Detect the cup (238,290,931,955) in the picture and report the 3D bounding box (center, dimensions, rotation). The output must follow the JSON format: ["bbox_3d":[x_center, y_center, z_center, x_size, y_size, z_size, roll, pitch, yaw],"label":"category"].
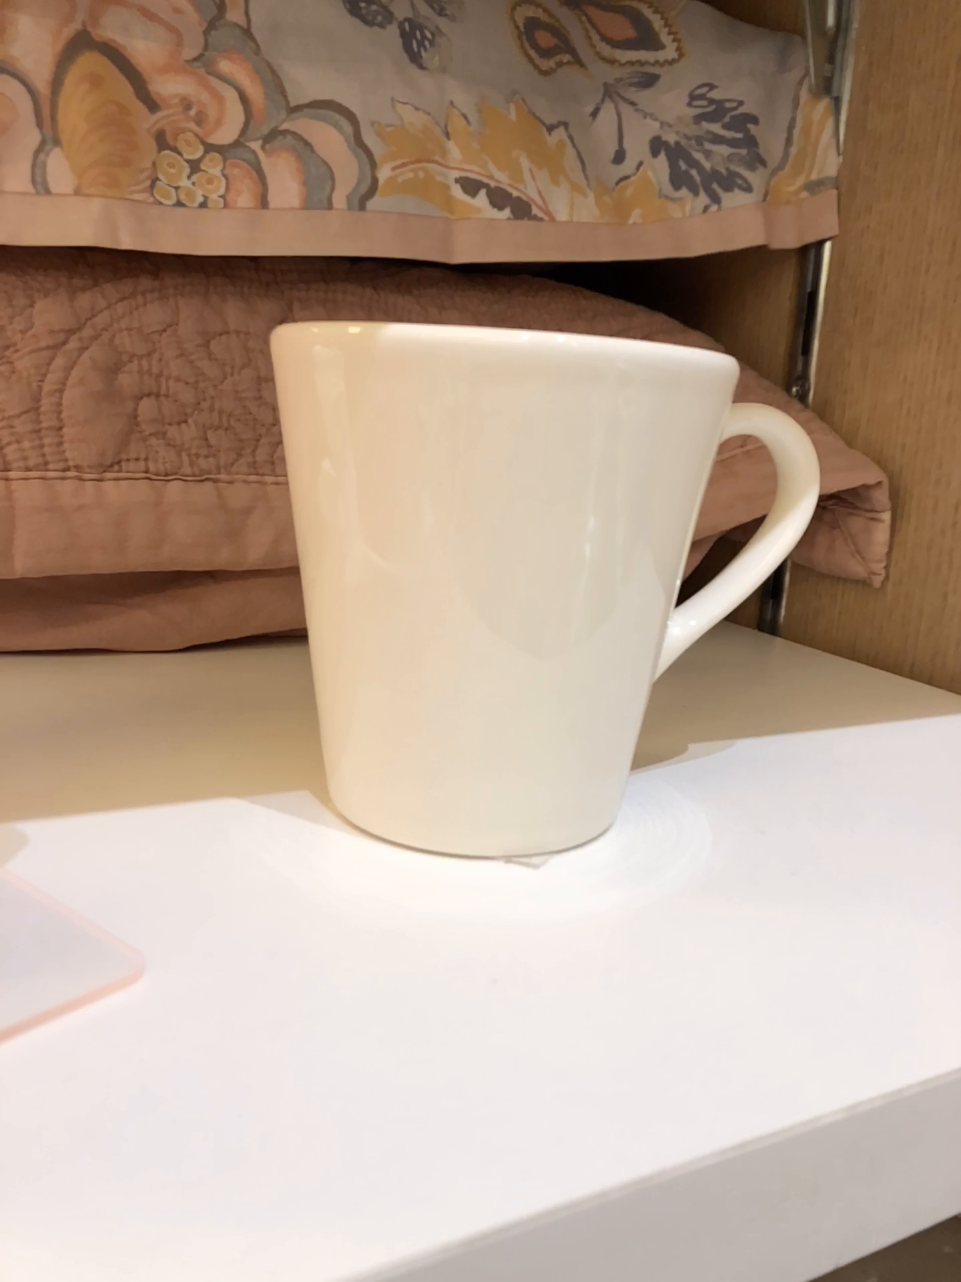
[{"bbox_3d":[0.020,-0.013,0.222,0.110,0.100,0.080,-5,15,-38],"label":"cup"}]
